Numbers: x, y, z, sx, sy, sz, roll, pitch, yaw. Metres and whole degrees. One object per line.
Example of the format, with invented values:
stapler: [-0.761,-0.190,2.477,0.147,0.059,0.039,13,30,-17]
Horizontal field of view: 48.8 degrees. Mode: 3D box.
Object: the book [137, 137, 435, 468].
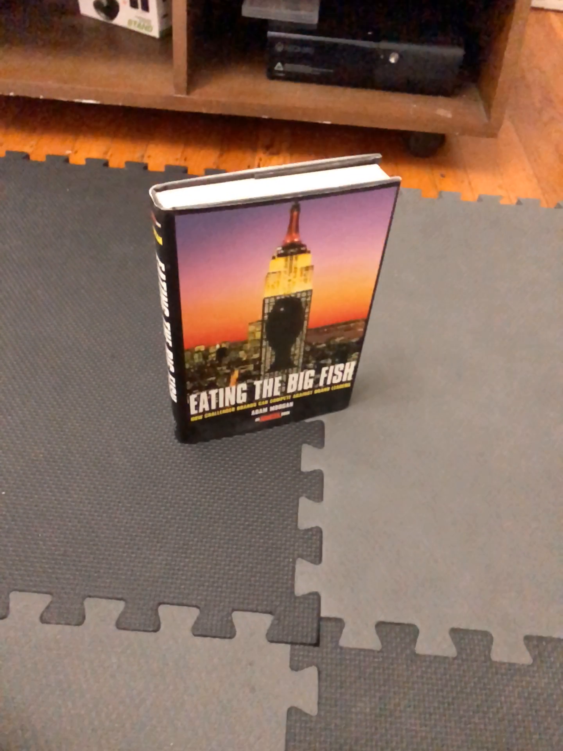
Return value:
book: [-0.004,-0.041,0.485,0.180,0.258,0.050,-14,53,-16]
